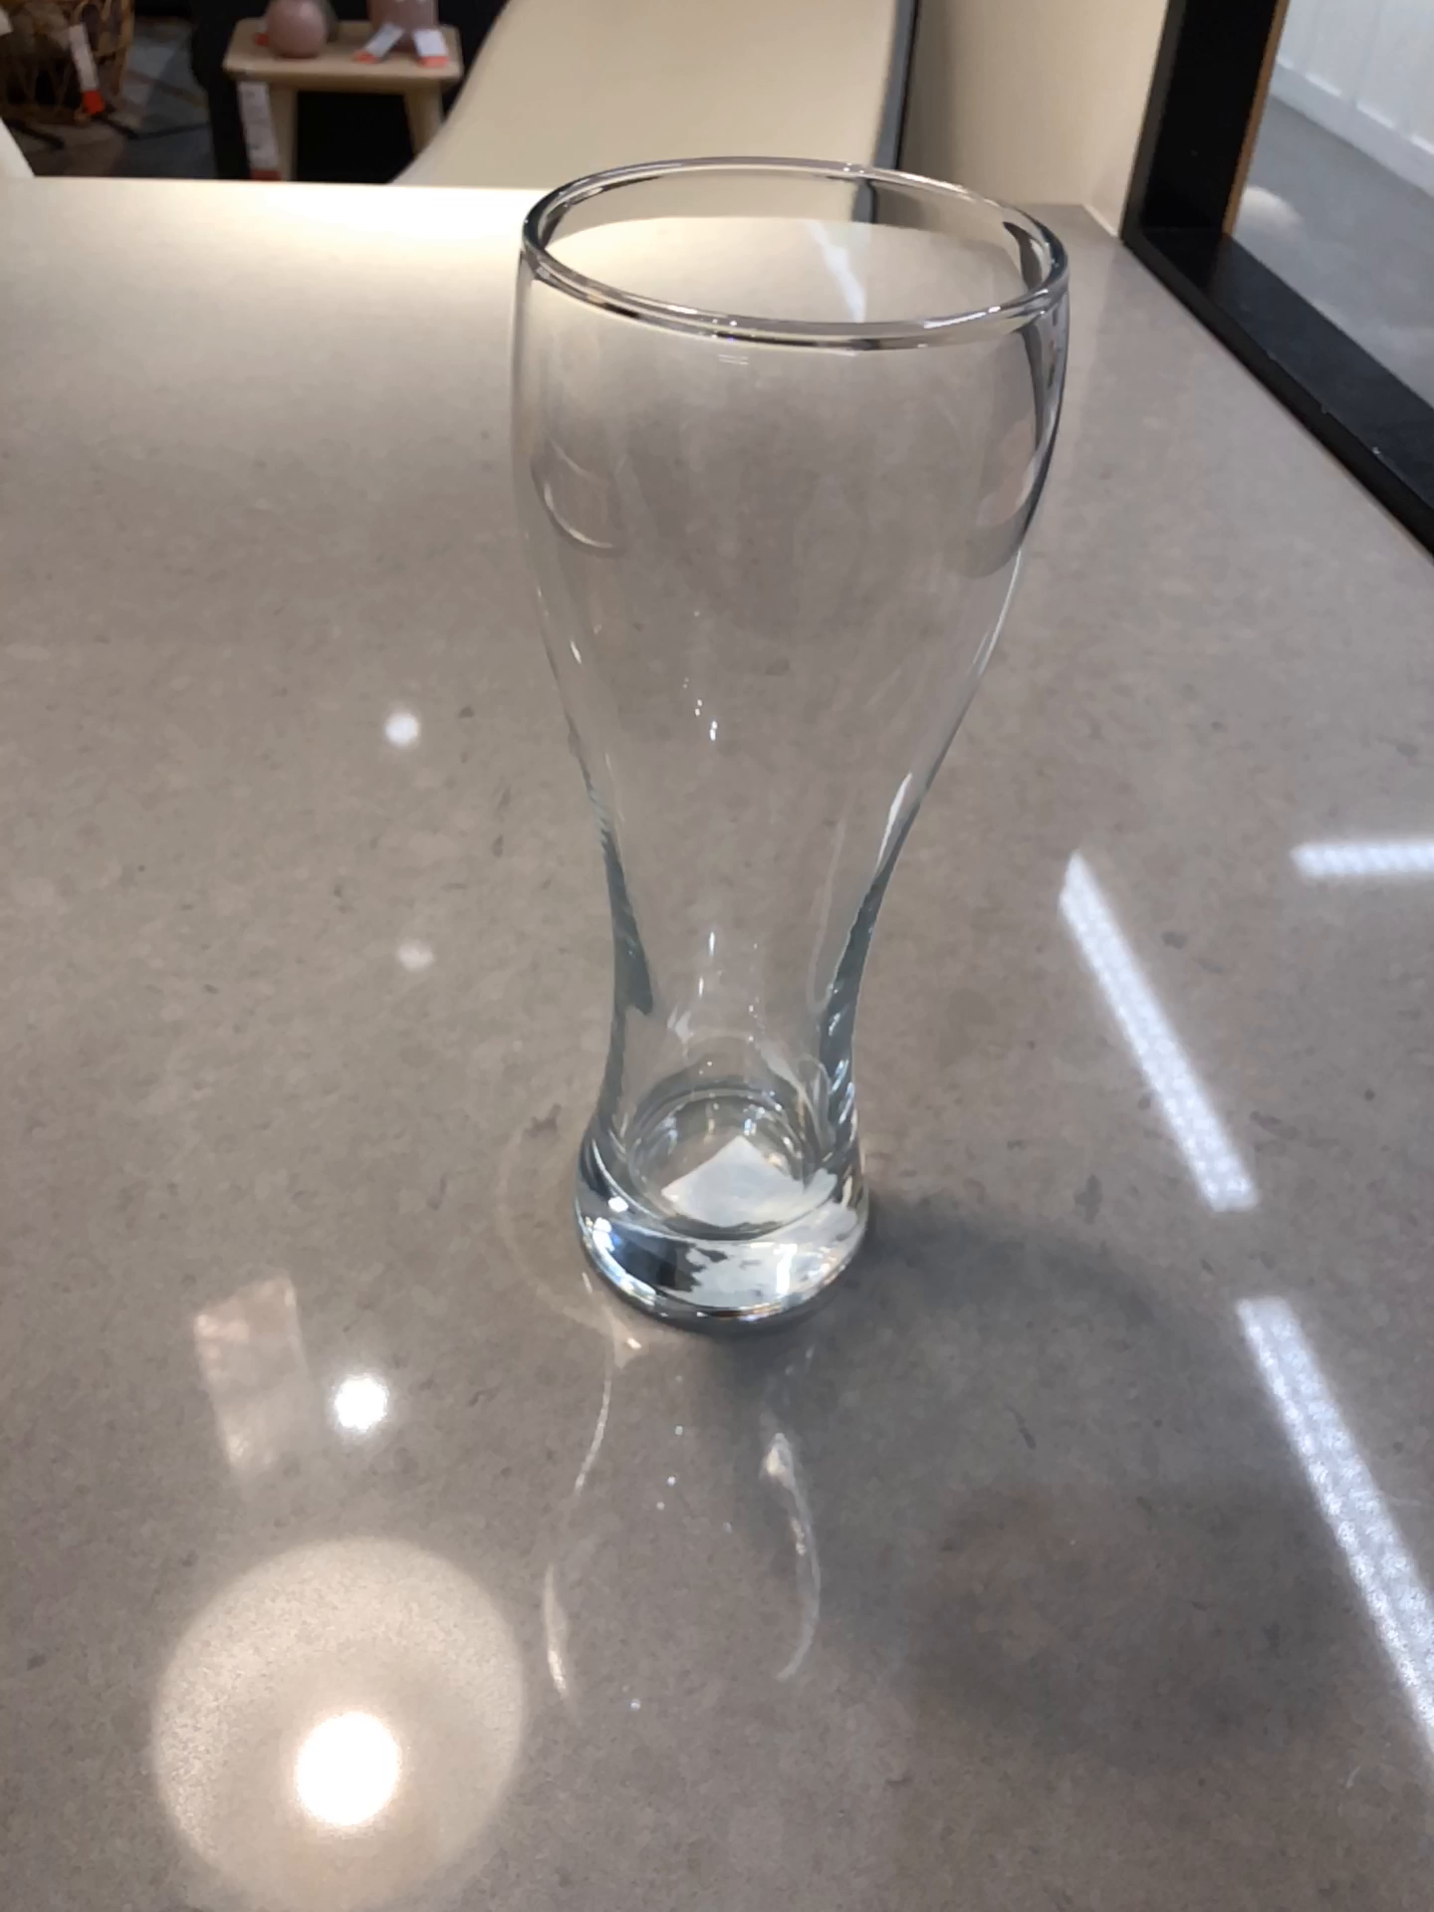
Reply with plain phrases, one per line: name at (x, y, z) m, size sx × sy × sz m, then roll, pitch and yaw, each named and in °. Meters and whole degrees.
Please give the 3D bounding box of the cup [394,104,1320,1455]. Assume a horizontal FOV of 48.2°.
cup at (0.017, -0.028, 0.312) m, size 0.100 × 0.219 × 0.100 m, roll 2°, pitch 40°, yaw -2°
